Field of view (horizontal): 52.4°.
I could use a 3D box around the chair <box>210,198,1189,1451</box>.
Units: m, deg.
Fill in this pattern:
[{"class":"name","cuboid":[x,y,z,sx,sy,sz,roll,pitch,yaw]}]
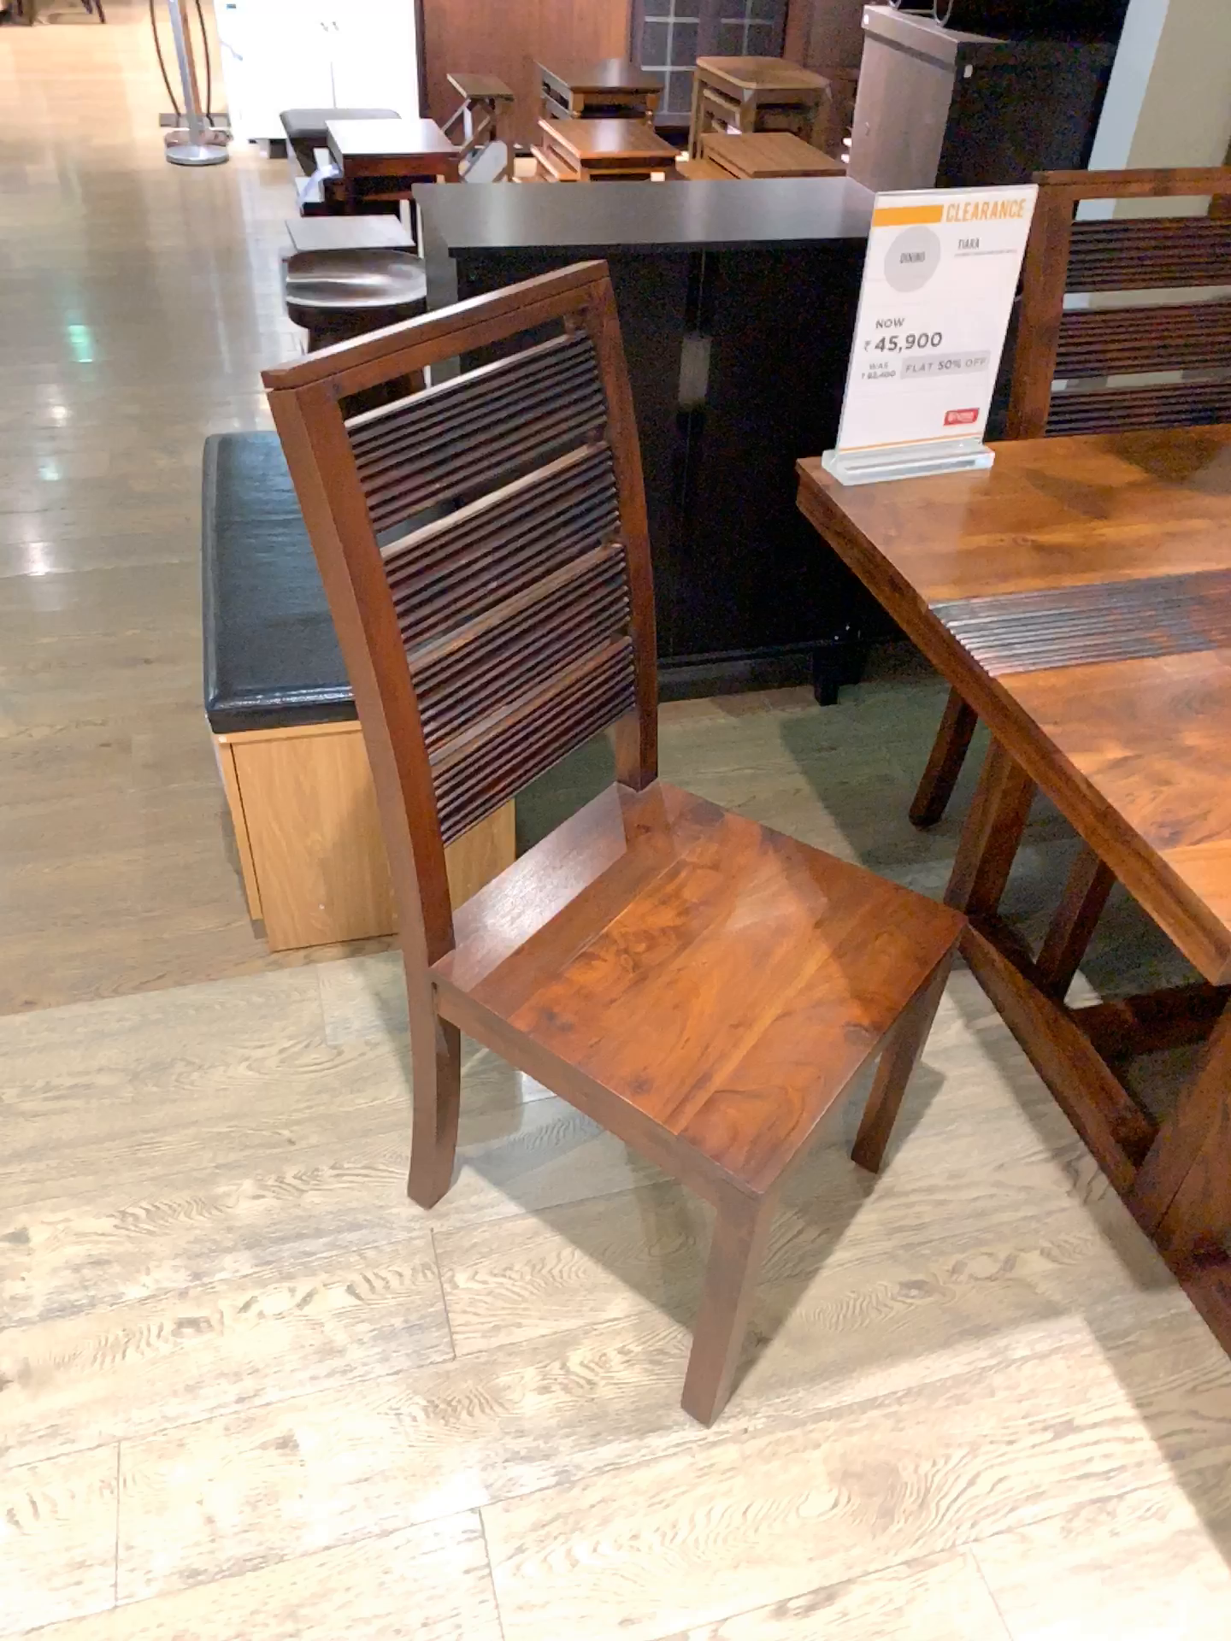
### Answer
[{"class":"chair","cuboid":[0.064,0.021,1.237,0.530,0.996,0.522,25,44,24]}]
